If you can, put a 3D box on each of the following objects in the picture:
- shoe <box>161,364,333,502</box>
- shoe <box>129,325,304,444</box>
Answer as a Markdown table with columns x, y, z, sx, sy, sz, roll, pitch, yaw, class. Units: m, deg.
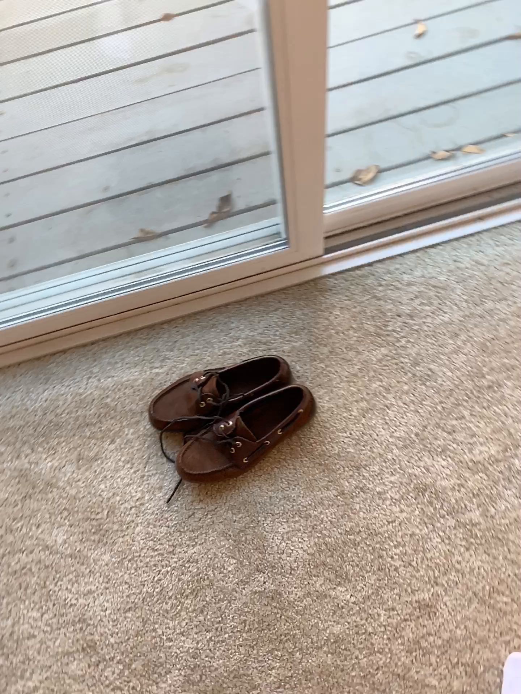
| x | y | z | sx | sy | sz | roll | pitch | yaw | class |
| --- | --- | --- | --- | --- | --- | --- | --- | --- | --- |
| -0.019 | 0.159 | 0.975 | 0.290 | 0.100 | 0.100 | -29 | 68 | -6 | shoe |
| -0.079 | 0.074 | 1.010 | 0.300 | 0.100 | 0.110 | -19 | 67 | -1 | shoe |
